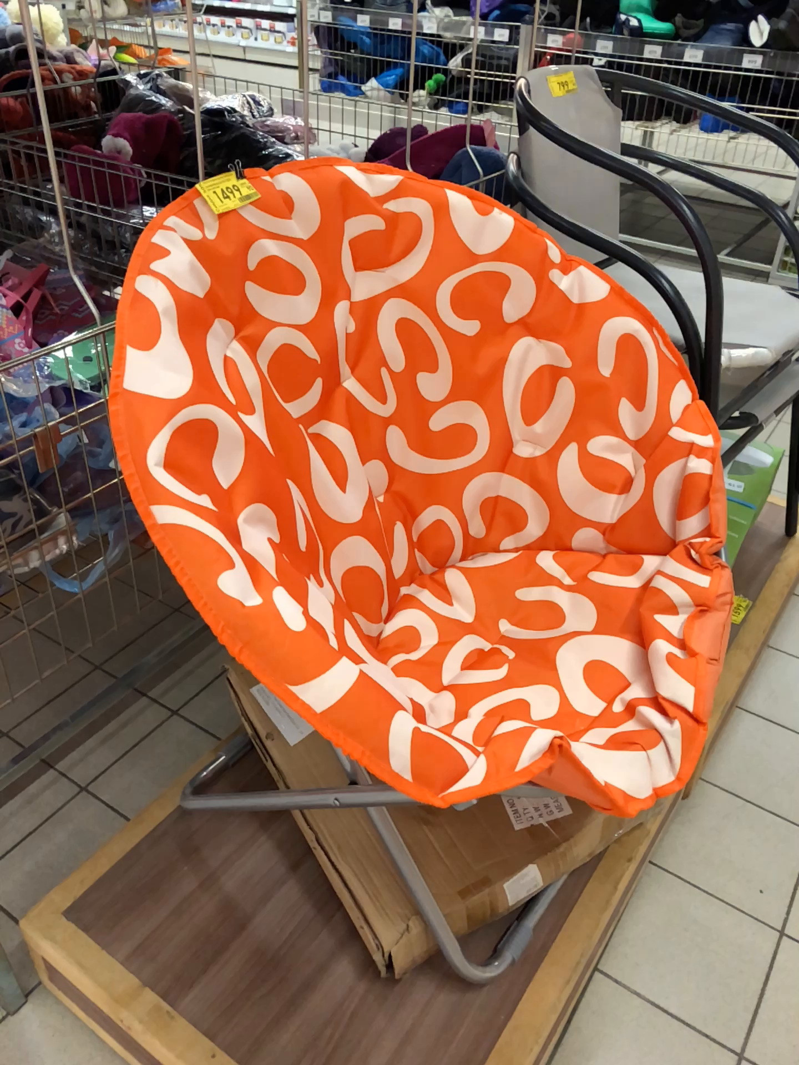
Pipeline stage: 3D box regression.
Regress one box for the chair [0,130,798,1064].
[{"bbox_3d":[0.010,-0.039,1.008,0.711,0.606,0.738,23,39,27],"label":"chair"}]
